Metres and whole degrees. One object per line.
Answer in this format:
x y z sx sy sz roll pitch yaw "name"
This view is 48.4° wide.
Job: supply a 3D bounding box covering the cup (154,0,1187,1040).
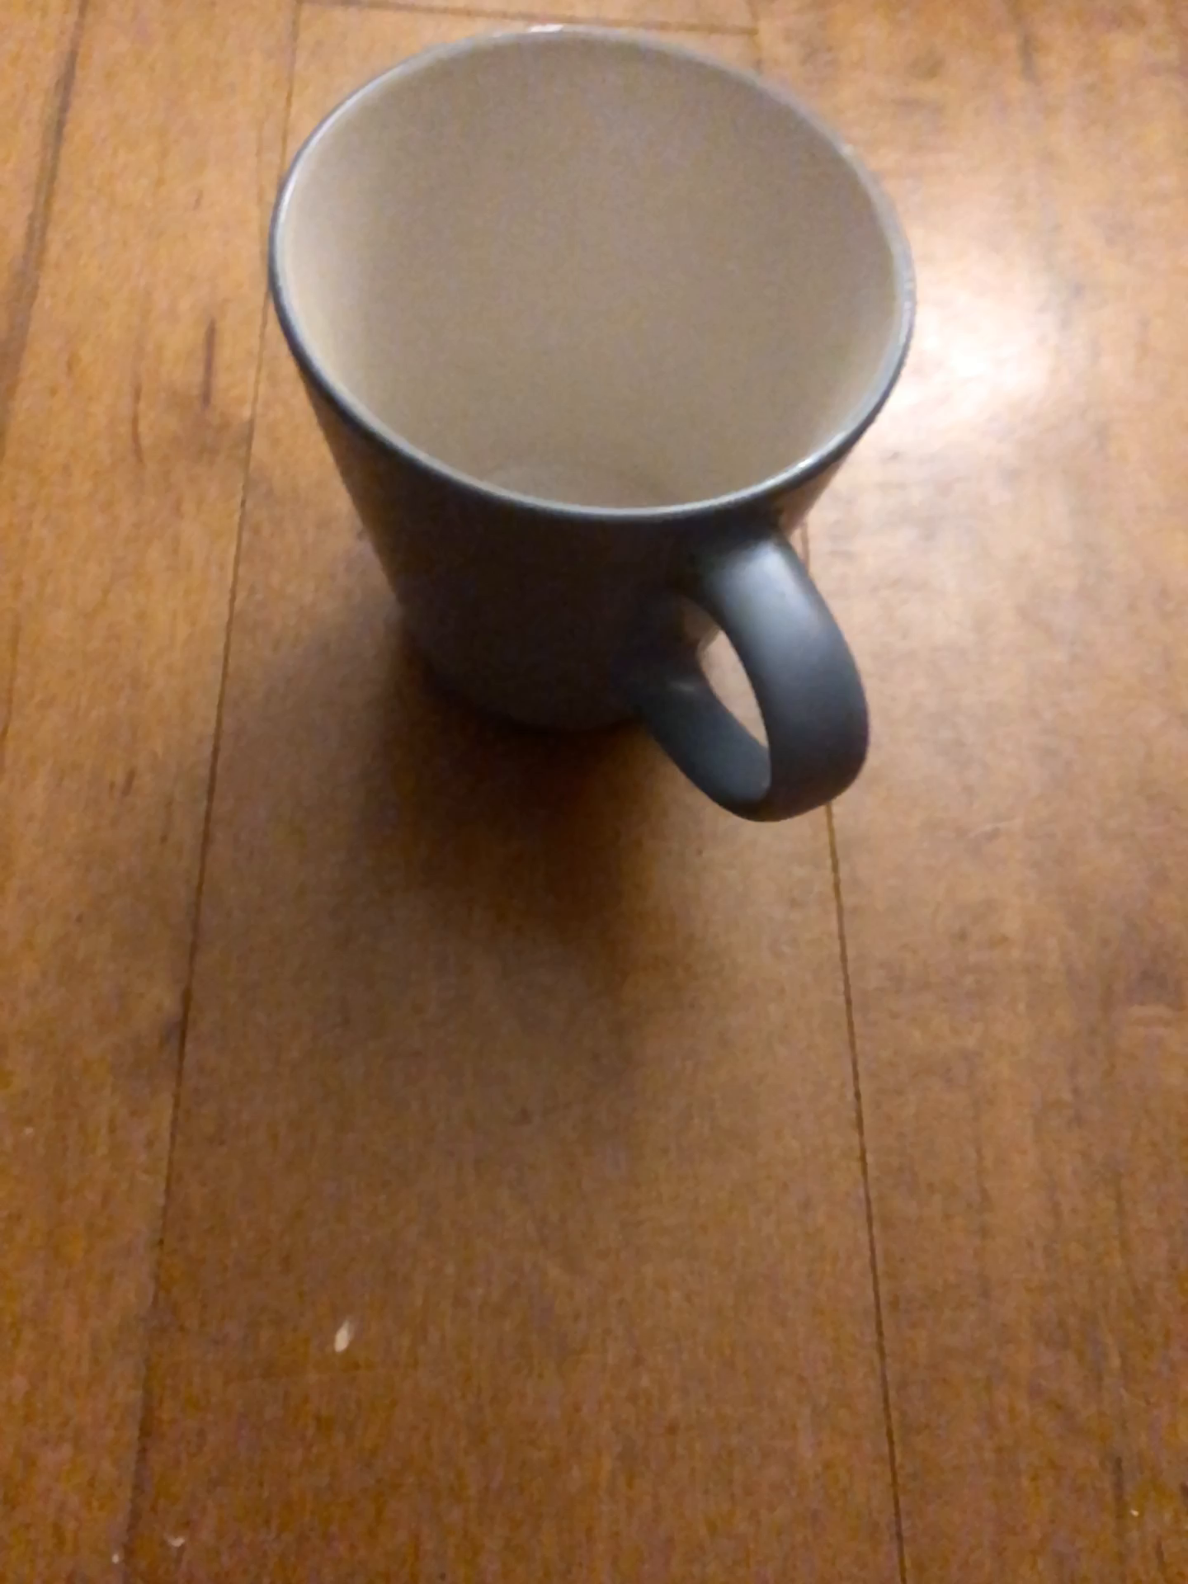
0.003 -0.051 0.238 0.100 0.100 0.140 -22 70 -15 "cup"
